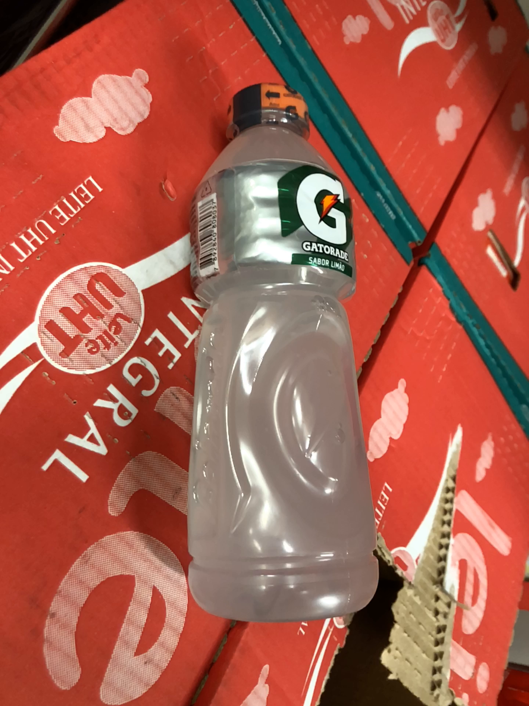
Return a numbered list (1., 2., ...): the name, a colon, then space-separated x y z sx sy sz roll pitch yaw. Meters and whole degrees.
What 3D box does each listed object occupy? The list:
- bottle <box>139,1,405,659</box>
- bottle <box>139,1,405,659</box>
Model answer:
1. bottle: -0.002 -0.010 0.227 0.070 0.060 0.210 8 73 -41
2. bottle: -0.002 -0.010 0.227 0.070 0.060 0.210 8 73 -41
